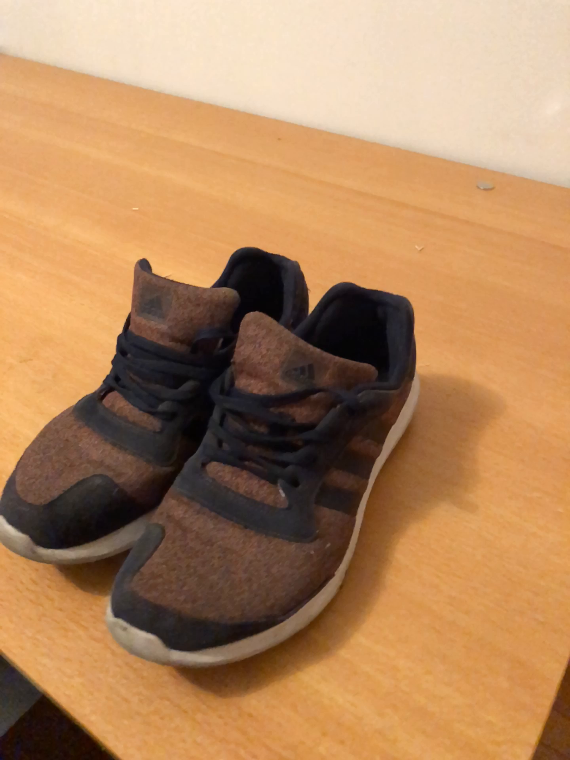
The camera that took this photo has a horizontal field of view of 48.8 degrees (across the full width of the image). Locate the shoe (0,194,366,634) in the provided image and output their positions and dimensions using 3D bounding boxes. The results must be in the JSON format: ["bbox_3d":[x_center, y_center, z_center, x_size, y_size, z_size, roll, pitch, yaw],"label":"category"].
[{"bbox_3d":[-0.077,-0.010,0.433,0.130,0.099,0.312,22,46,25],"label":"shoe"}]

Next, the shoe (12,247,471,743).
[{"bbox_3d":[0.000,0.037,0.361,0.110,0.099,0.261,22,46,25],"label":"shoe"}]
